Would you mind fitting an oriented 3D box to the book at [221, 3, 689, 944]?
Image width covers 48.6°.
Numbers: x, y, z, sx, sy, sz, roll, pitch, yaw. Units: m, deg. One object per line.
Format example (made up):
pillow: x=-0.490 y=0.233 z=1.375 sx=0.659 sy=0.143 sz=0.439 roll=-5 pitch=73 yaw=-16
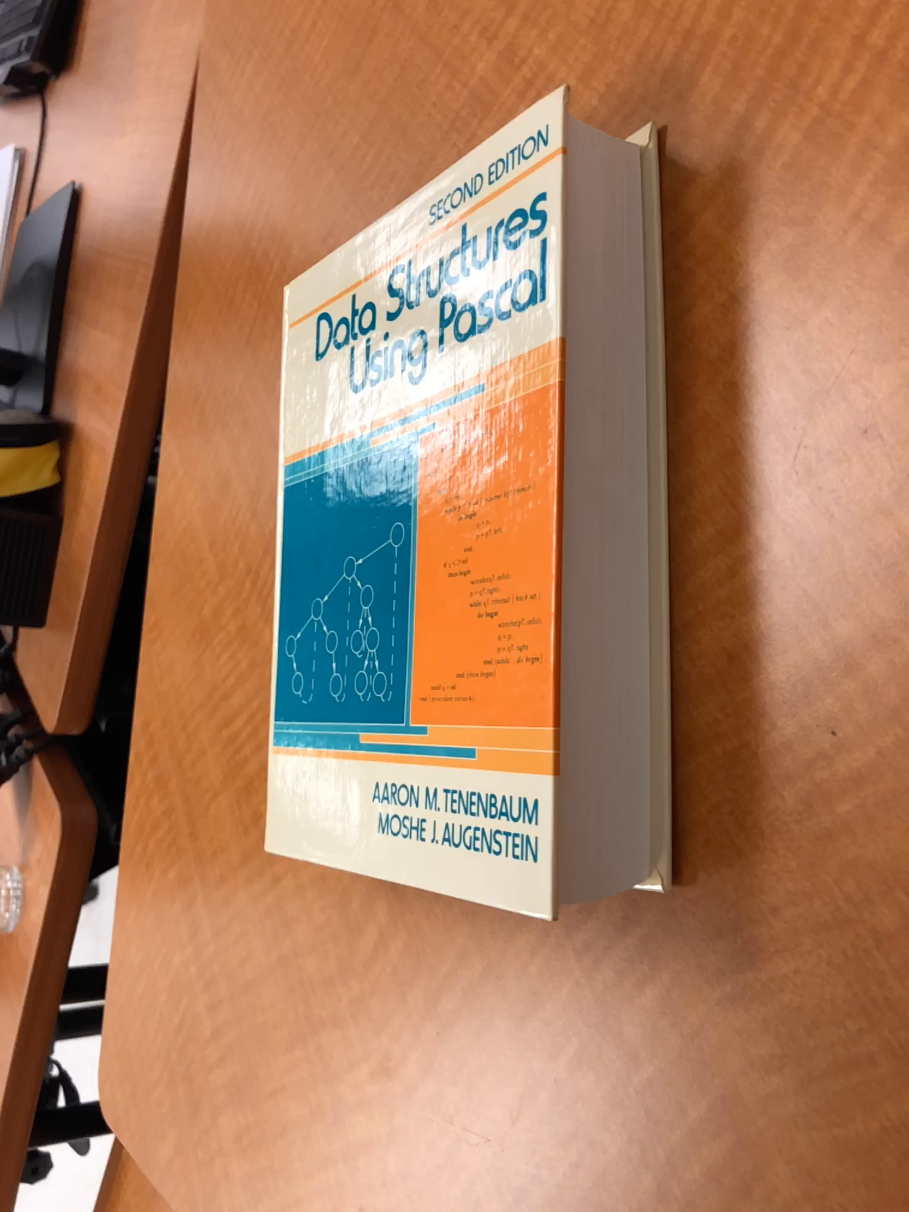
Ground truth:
book: x=-0.012 y=-0.032 z=0.365 sx=0.201 sy=0.050 sz=0.260 roll=-9 pitch=77 yaw=52
